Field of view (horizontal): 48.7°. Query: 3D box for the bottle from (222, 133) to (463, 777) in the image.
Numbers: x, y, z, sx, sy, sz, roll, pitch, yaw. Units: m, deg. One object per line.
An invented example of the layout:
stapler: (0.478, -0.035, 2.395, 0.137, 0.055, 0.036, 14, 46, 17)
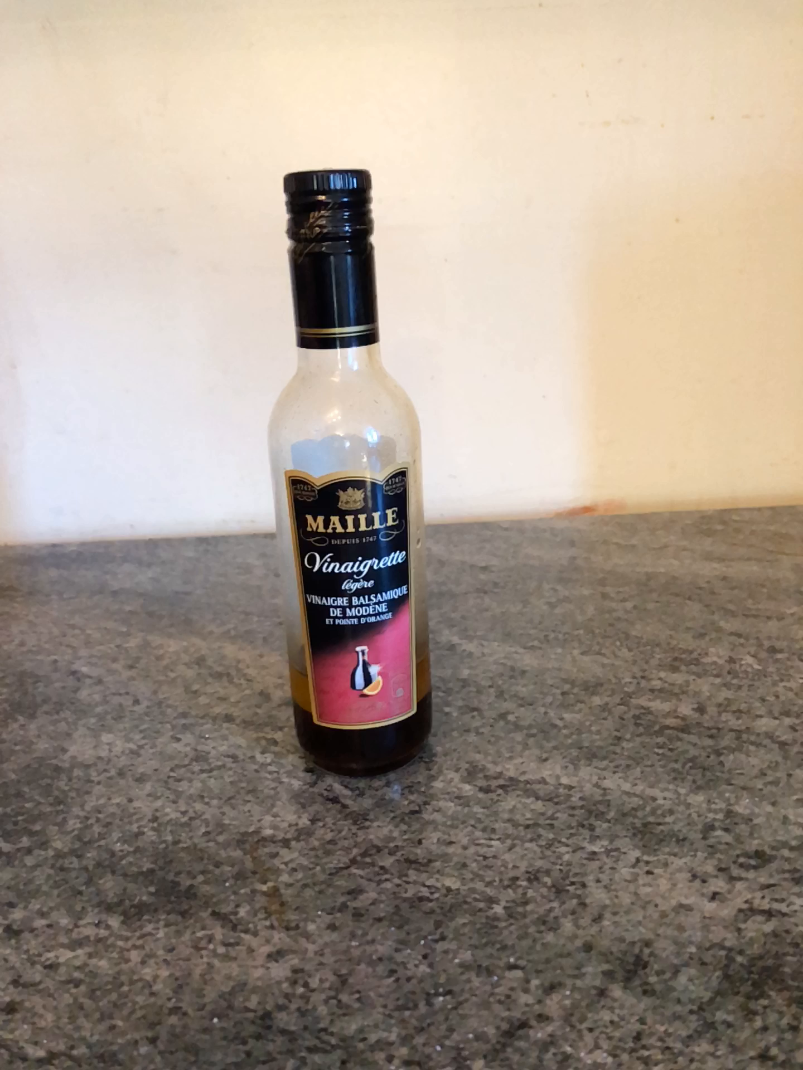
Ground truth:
bottle: (-0.018, -0.027, 0.345, 0.070, 0.229, 0.070, -2, 19, 1)
